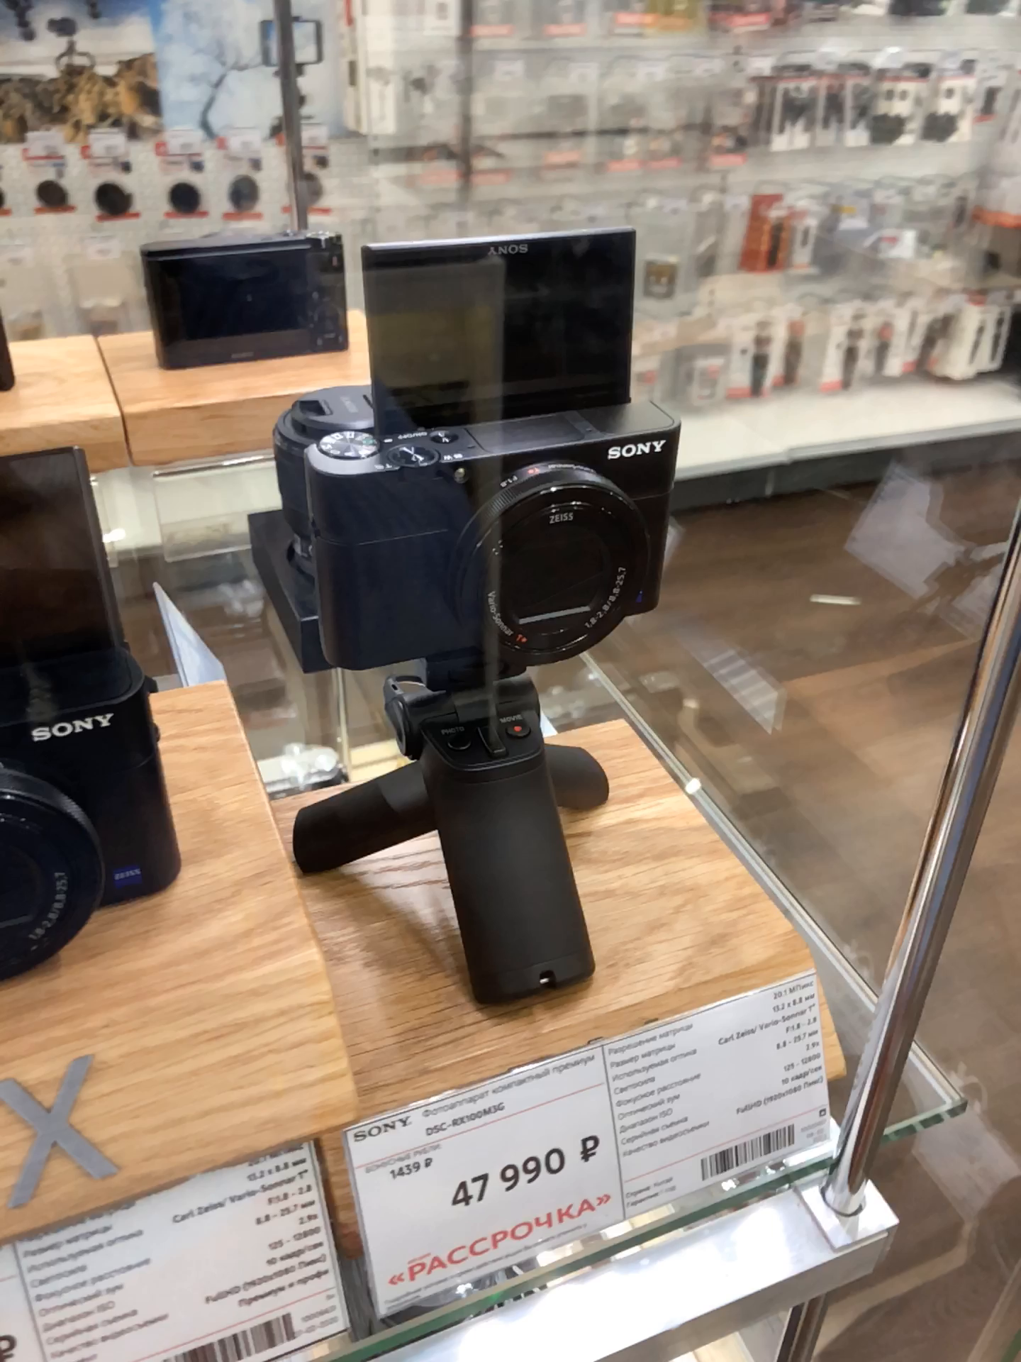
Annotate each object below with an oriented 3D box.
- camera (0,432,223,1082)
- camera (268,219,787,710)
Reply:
[{"bbox_3d":[-0.129,0.011,0.244,0.108,0.097,0.070,-11,36,-18],"label":"camera"},{"bbox_3d":[0.001,-0.060,0.297,0.108,0.097,0.063,-11,36,-18],"label":"camera"}]
